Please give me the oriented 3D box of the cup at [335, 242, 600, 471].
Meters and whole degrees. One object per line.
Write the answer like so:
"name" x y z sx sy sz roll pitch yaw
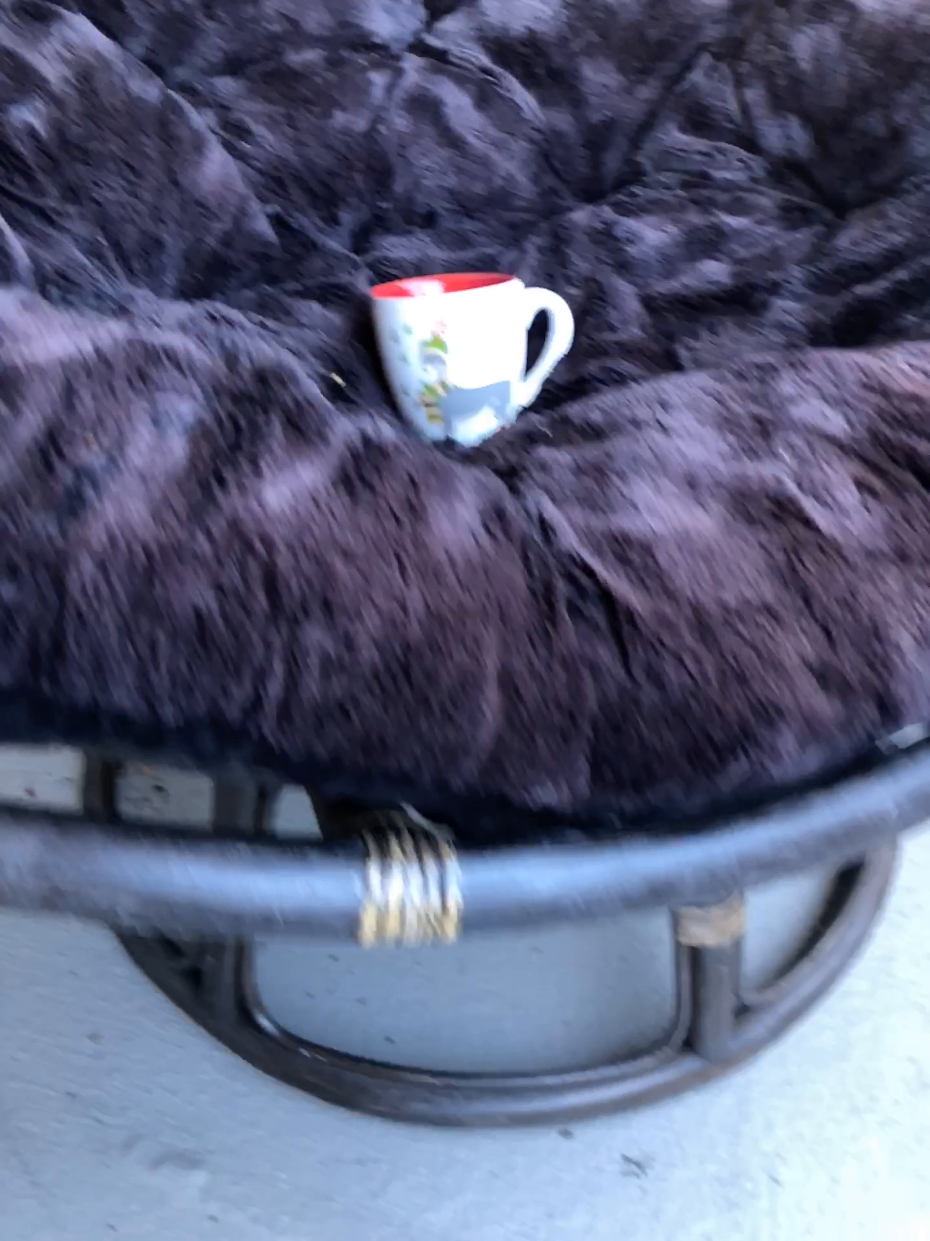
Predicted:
"cup" 0.004 -0.184 0.700 0.140 0.109 0.100 -20 32 -26
